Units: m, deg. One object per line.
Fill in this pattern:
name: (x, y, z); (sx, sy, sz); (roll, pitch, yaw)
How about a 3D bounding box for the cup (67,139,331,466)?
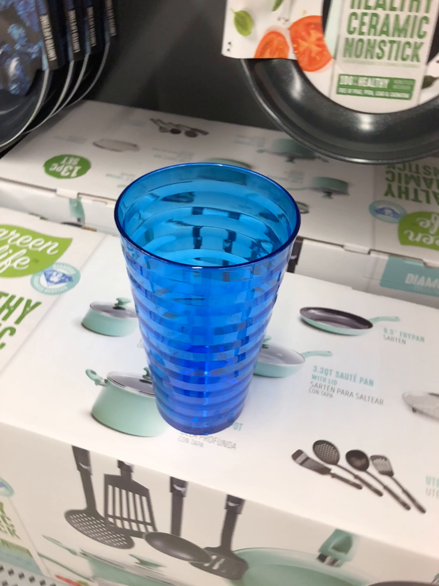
cup: (-0.008, 0.007, 0.273); (0.087, 0.134, 0.092); (2, 45, -2)
